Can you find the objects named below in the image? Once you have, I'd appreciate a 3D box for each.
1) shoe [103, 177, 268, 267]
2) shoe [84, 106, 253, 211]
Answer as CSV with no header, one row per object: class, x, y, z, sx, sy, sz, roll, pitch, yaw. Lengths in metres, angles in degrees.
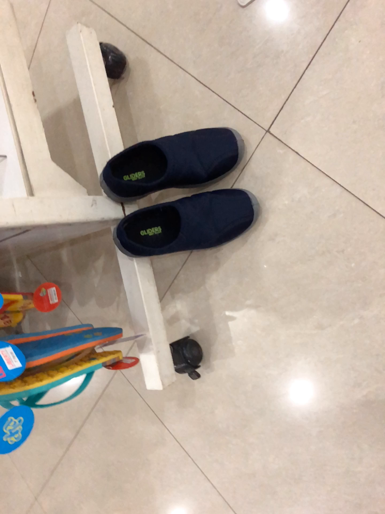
shoe,-0.016,-0.061,0.793,0.289,0.063,0.107,-11,92,19
shoe,-0.047,-0.170,0.785,0.289,0.083,0.110,-10,92,22
